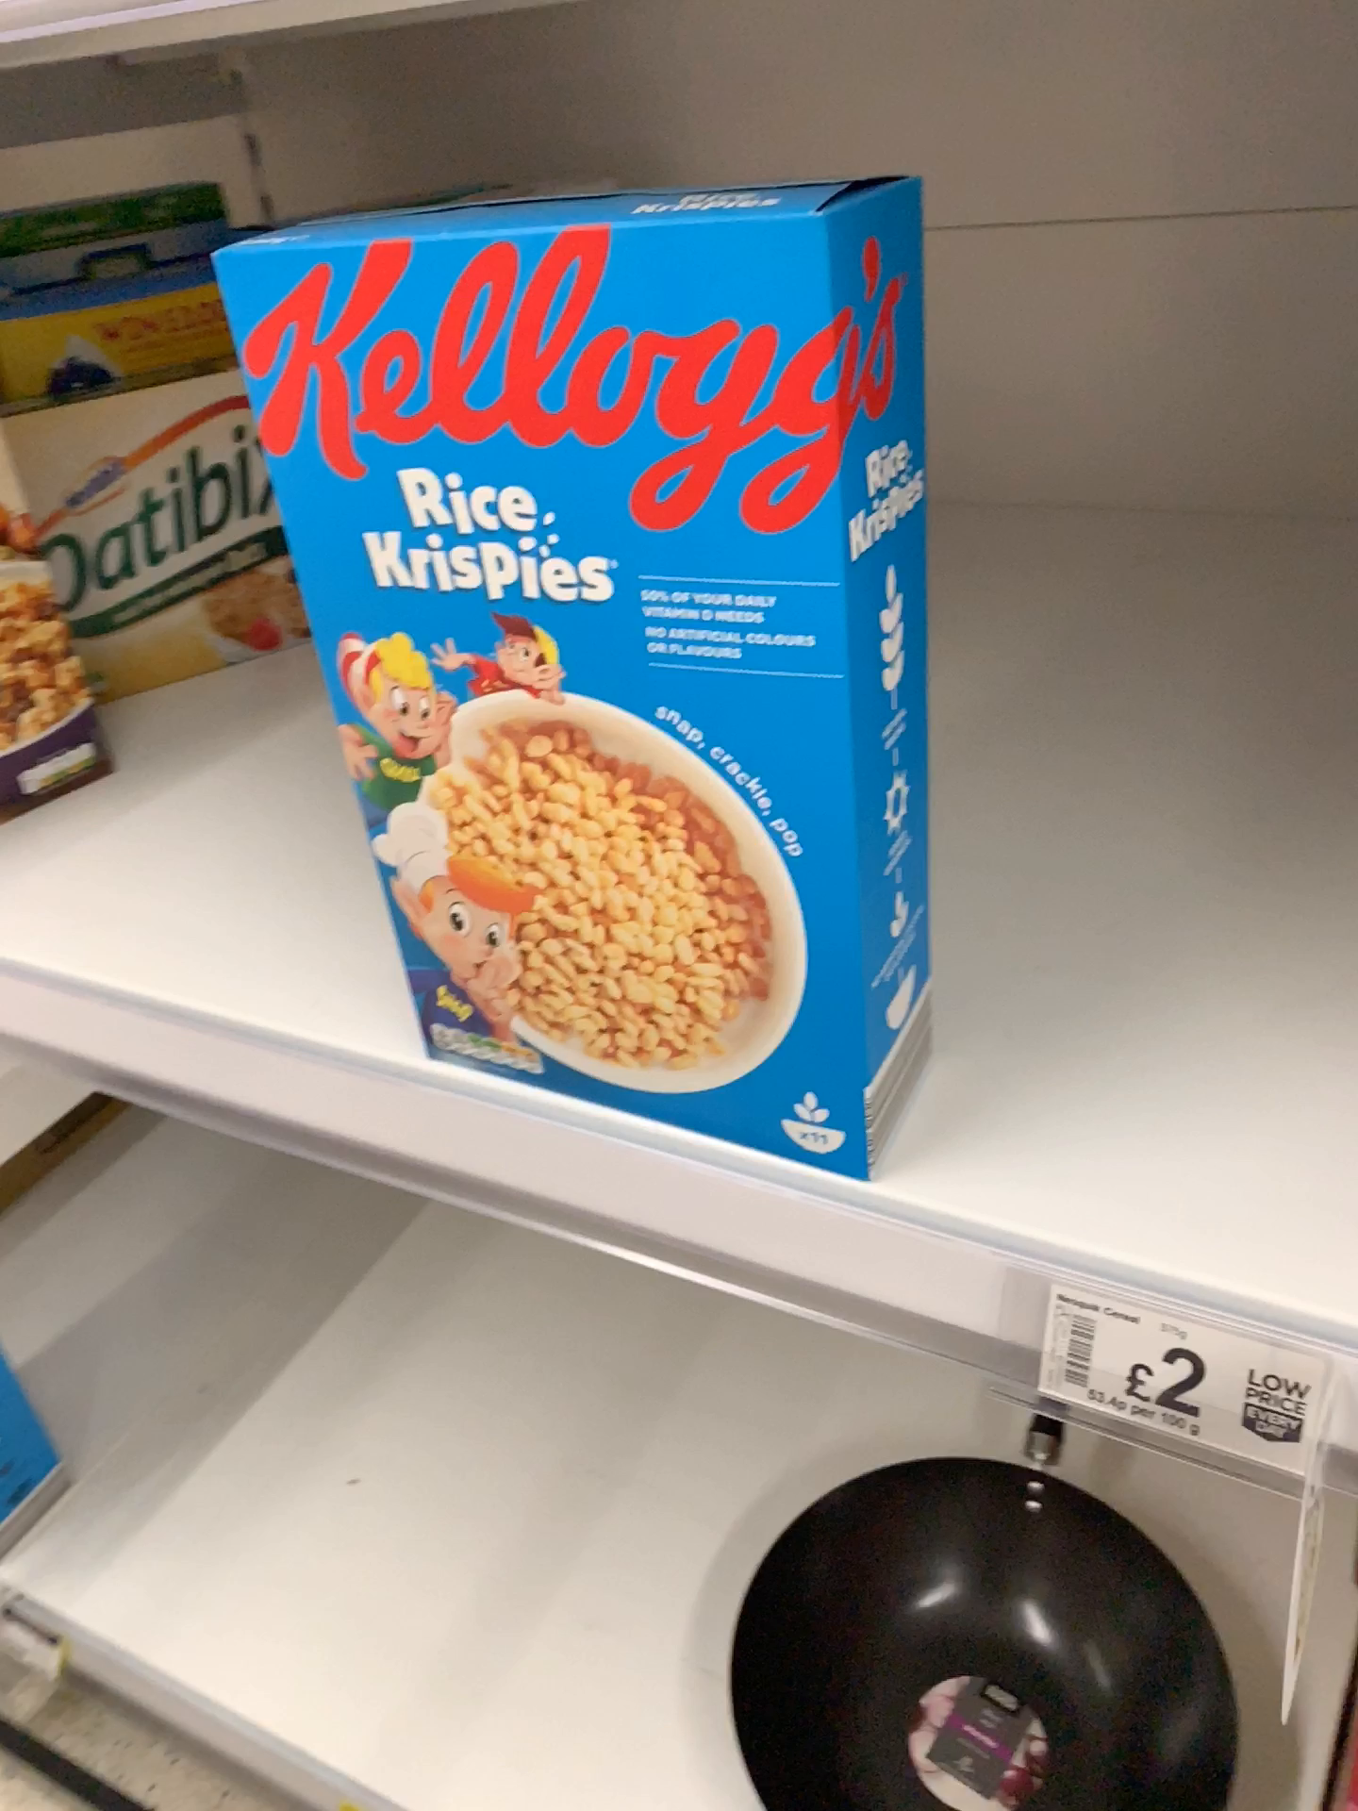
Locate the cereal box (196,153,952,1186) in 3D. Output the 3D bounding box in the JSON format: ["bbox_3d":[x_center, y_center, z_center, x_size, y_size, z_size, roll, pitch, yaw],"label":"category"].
[{"bbox_3d":[-0.020,-0.068,0.460,0.201,0.297,0.070,11,36,28],"label":"cereal box"}]
